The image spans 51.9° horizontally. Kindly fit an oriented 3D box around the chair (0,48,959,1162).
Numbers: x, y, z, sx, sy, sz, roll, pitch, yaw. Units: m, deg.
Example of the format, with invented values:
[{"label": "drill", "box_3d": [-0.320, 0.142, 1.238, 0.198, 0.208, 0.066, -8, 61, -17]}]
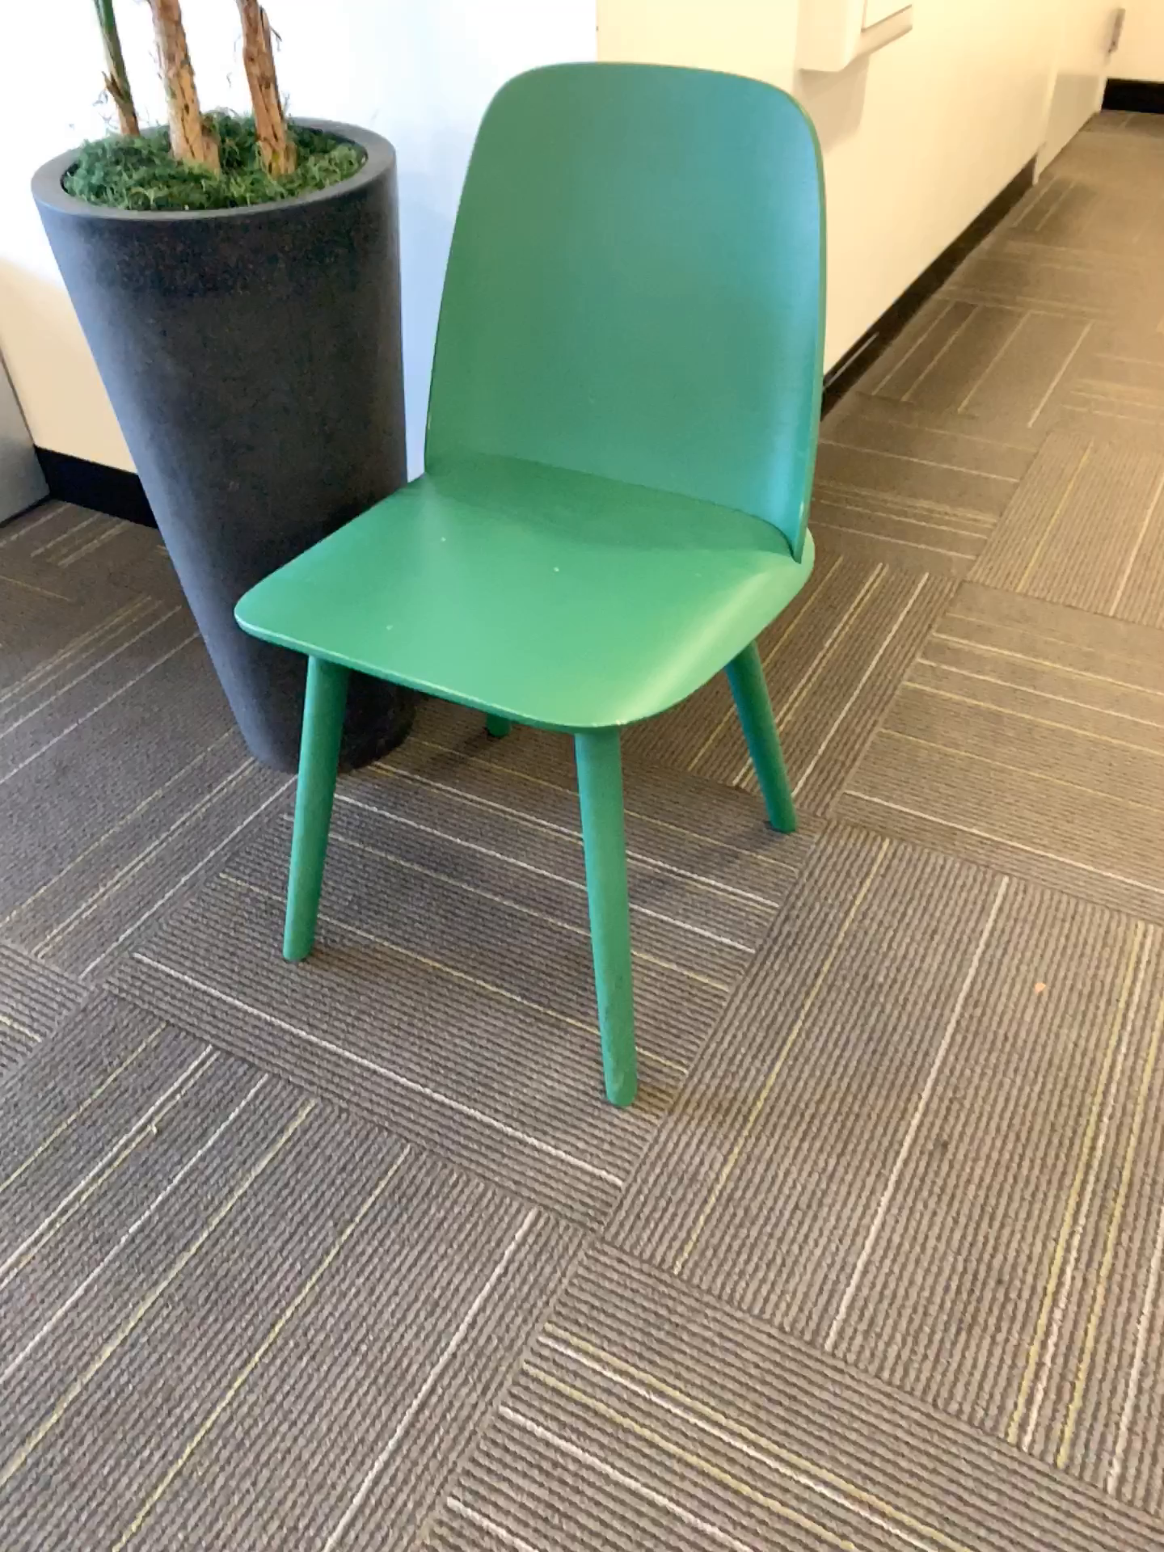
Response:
[{"label": "chair", "box_3d": [-0.043, -0.186, 1.126, 0.501, 0.746, 0.602, 19, 44, 22]}]
